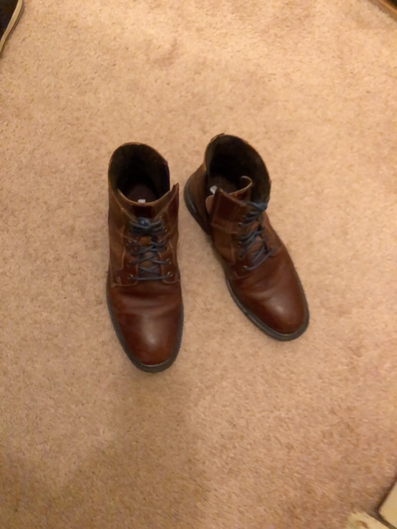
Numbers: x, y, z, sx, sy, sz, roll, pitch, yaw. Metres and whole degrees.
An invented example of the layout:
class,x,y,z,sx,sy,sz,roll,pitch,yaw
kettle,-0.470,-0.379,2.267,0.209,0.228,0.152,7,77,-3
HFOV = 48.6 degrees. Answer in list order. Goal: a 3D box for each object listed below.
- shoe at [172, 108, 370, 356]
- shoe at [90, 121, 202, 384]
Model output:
class,x,y,z,sx,sy,sz,roll,pitch,yaw
shoe,0.082,-0.032,0.628,0.110,0.173,0.301,-25,82,-11
shoe,-0.075,-0.008,0.607,0.113,0.173,0.316,-4,78,-7
